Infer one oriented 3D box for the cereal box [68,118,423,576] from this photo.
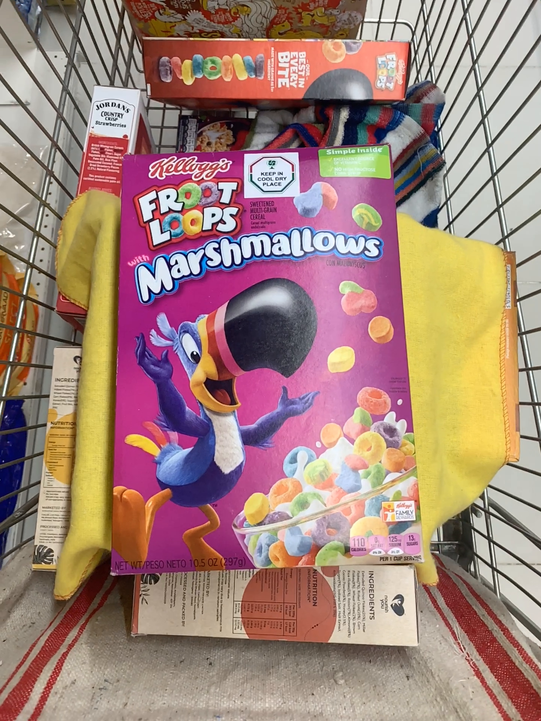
[{"bbox_3d":[-0.017,-0.013,0.359,0.190,0.070,0.270,-2,78,0],"label":"cereal box"}]
